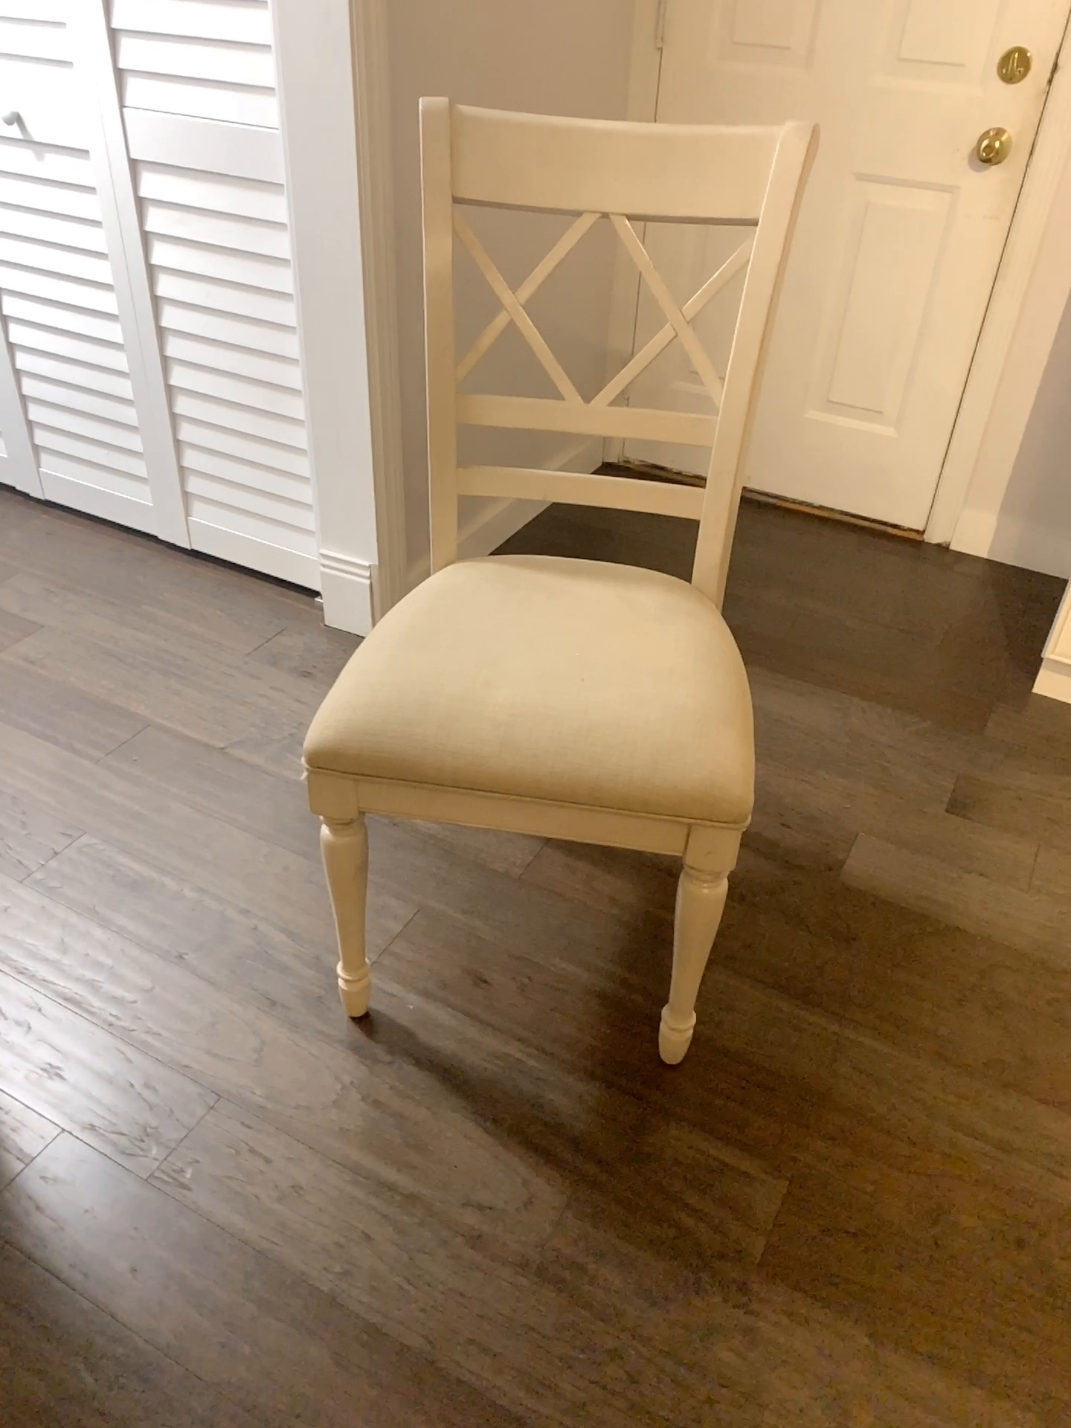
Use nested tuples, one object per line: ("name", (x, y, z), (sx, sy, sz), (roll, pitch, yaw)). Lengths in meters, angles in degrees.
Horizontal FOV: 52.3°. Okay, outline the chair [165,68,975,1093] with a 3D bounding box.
("chair", (0.038, -0.153, 1.311), (0.580, 0.994, 0.614), (7, 36, 5))
